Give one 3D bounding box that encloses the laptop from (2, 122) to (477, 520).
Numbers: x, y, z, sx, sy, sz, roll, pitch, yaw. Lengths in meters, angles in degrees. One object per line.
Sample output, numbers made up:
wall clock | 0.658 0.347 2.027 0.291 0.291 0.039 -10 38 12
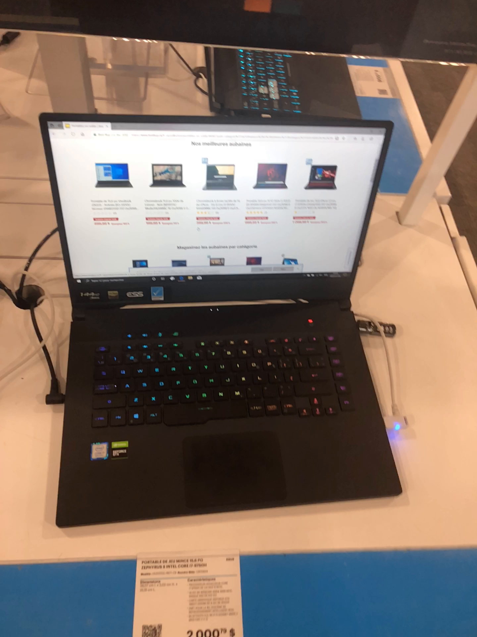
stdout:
laptop | -0.003 -0.003 0.516 0.340 0.207 0.315 -1 56 -7
